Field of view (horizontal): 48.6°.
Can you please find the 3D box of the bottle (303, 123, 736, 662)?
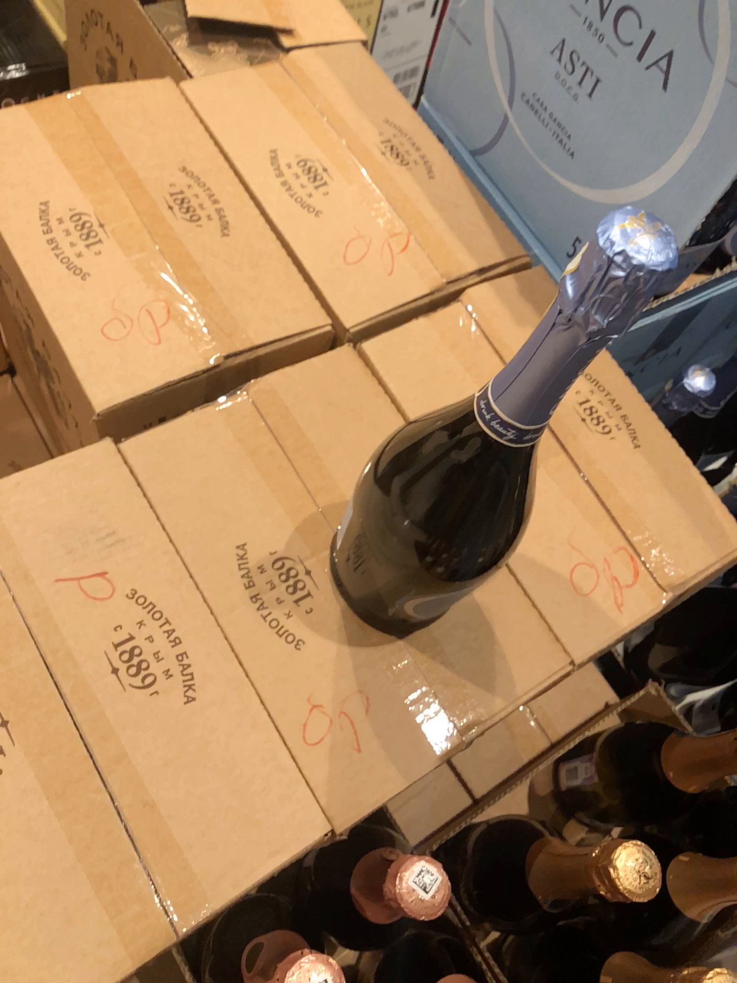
[{"bbox_3d":[0.056,-0.018,0.409,0.102,0.299,0.090,-29,74,-25],"label":"bottle"}]
